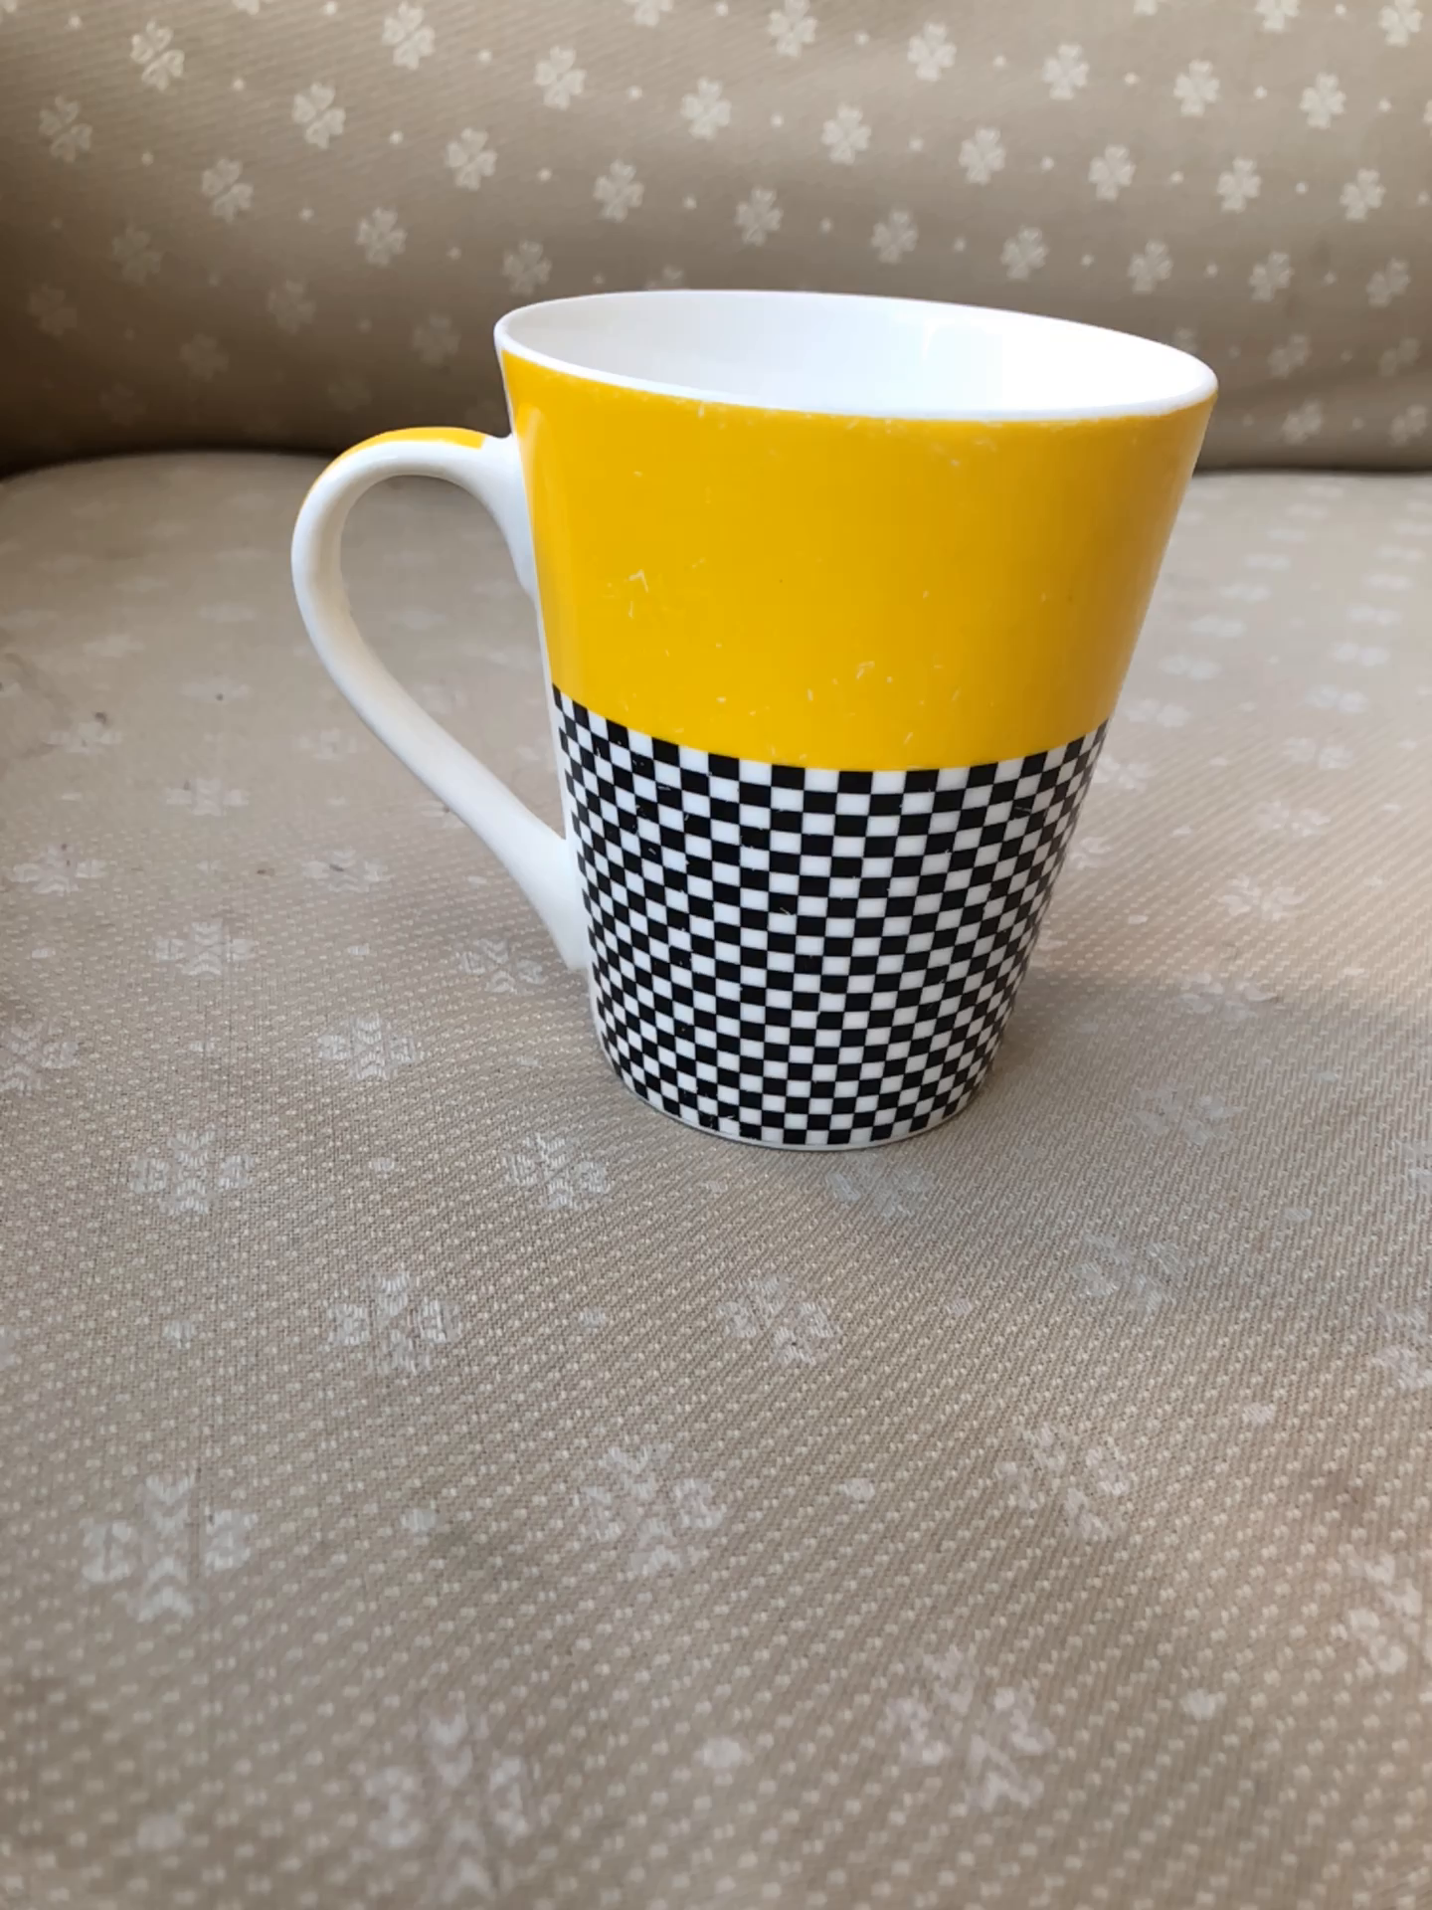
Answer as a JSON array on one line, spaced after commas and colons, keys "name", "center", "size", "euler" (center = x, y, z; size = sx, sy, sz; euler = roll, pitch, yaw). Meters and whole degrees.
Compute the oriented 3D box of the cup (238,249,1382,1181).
[{"name": "cup", "center": [0.007, -0.036, 0.216], "size": [0.111, 0.090, 0.088], "euler": [4, 30, -2]}]
